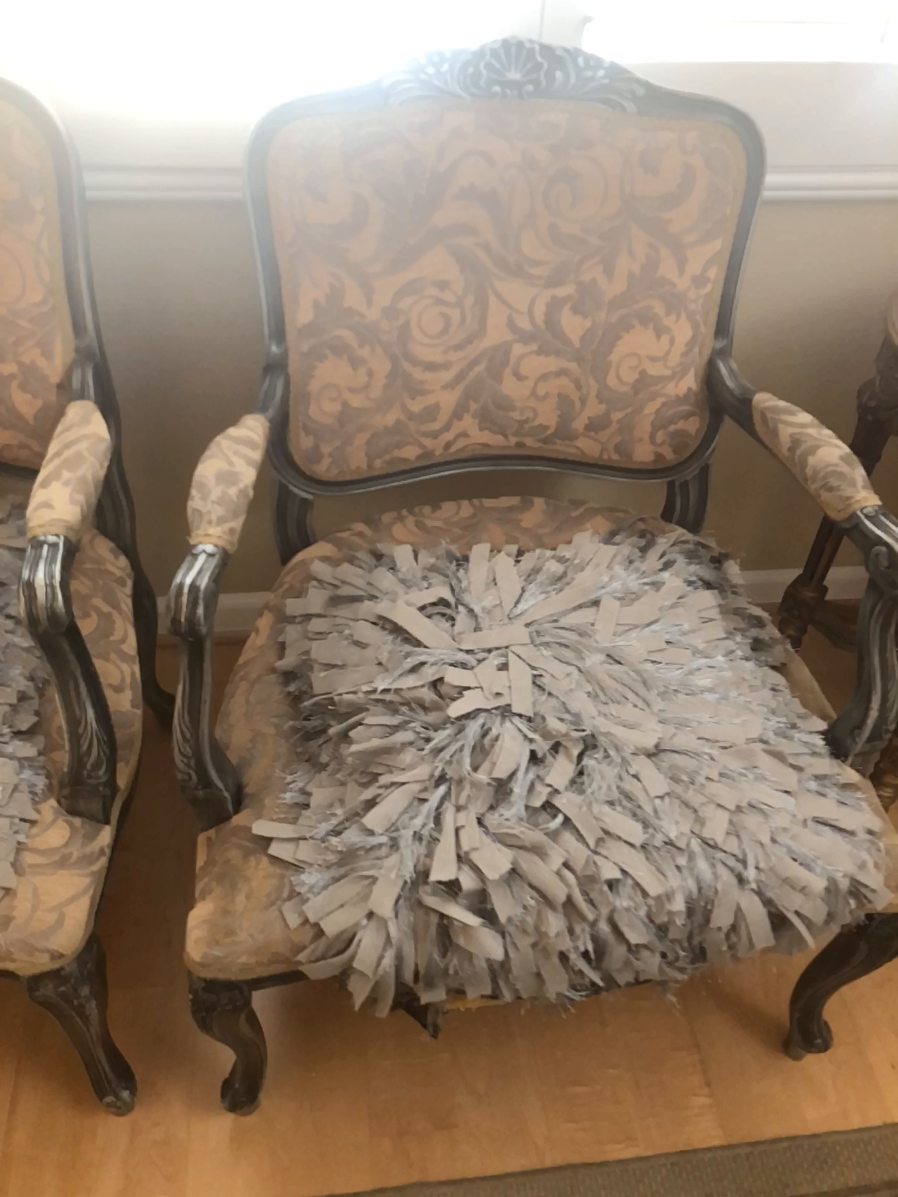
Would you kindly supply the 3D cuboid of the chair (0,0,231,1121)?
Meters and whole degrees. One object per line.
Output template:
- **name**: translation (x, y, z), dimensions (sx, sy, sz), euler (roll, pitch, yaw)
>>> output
- **chair**: translation (-0.659, 0.004, 0.960), dimensions (0.690, 0.951, 0.605), euler (2, 43, -2)

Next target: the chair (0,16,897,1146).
- **chair**: translation (0.095, -0.032, 1.062), dimensions (0.741, 0.852, 0.786), euler (-3, 44, -7)
